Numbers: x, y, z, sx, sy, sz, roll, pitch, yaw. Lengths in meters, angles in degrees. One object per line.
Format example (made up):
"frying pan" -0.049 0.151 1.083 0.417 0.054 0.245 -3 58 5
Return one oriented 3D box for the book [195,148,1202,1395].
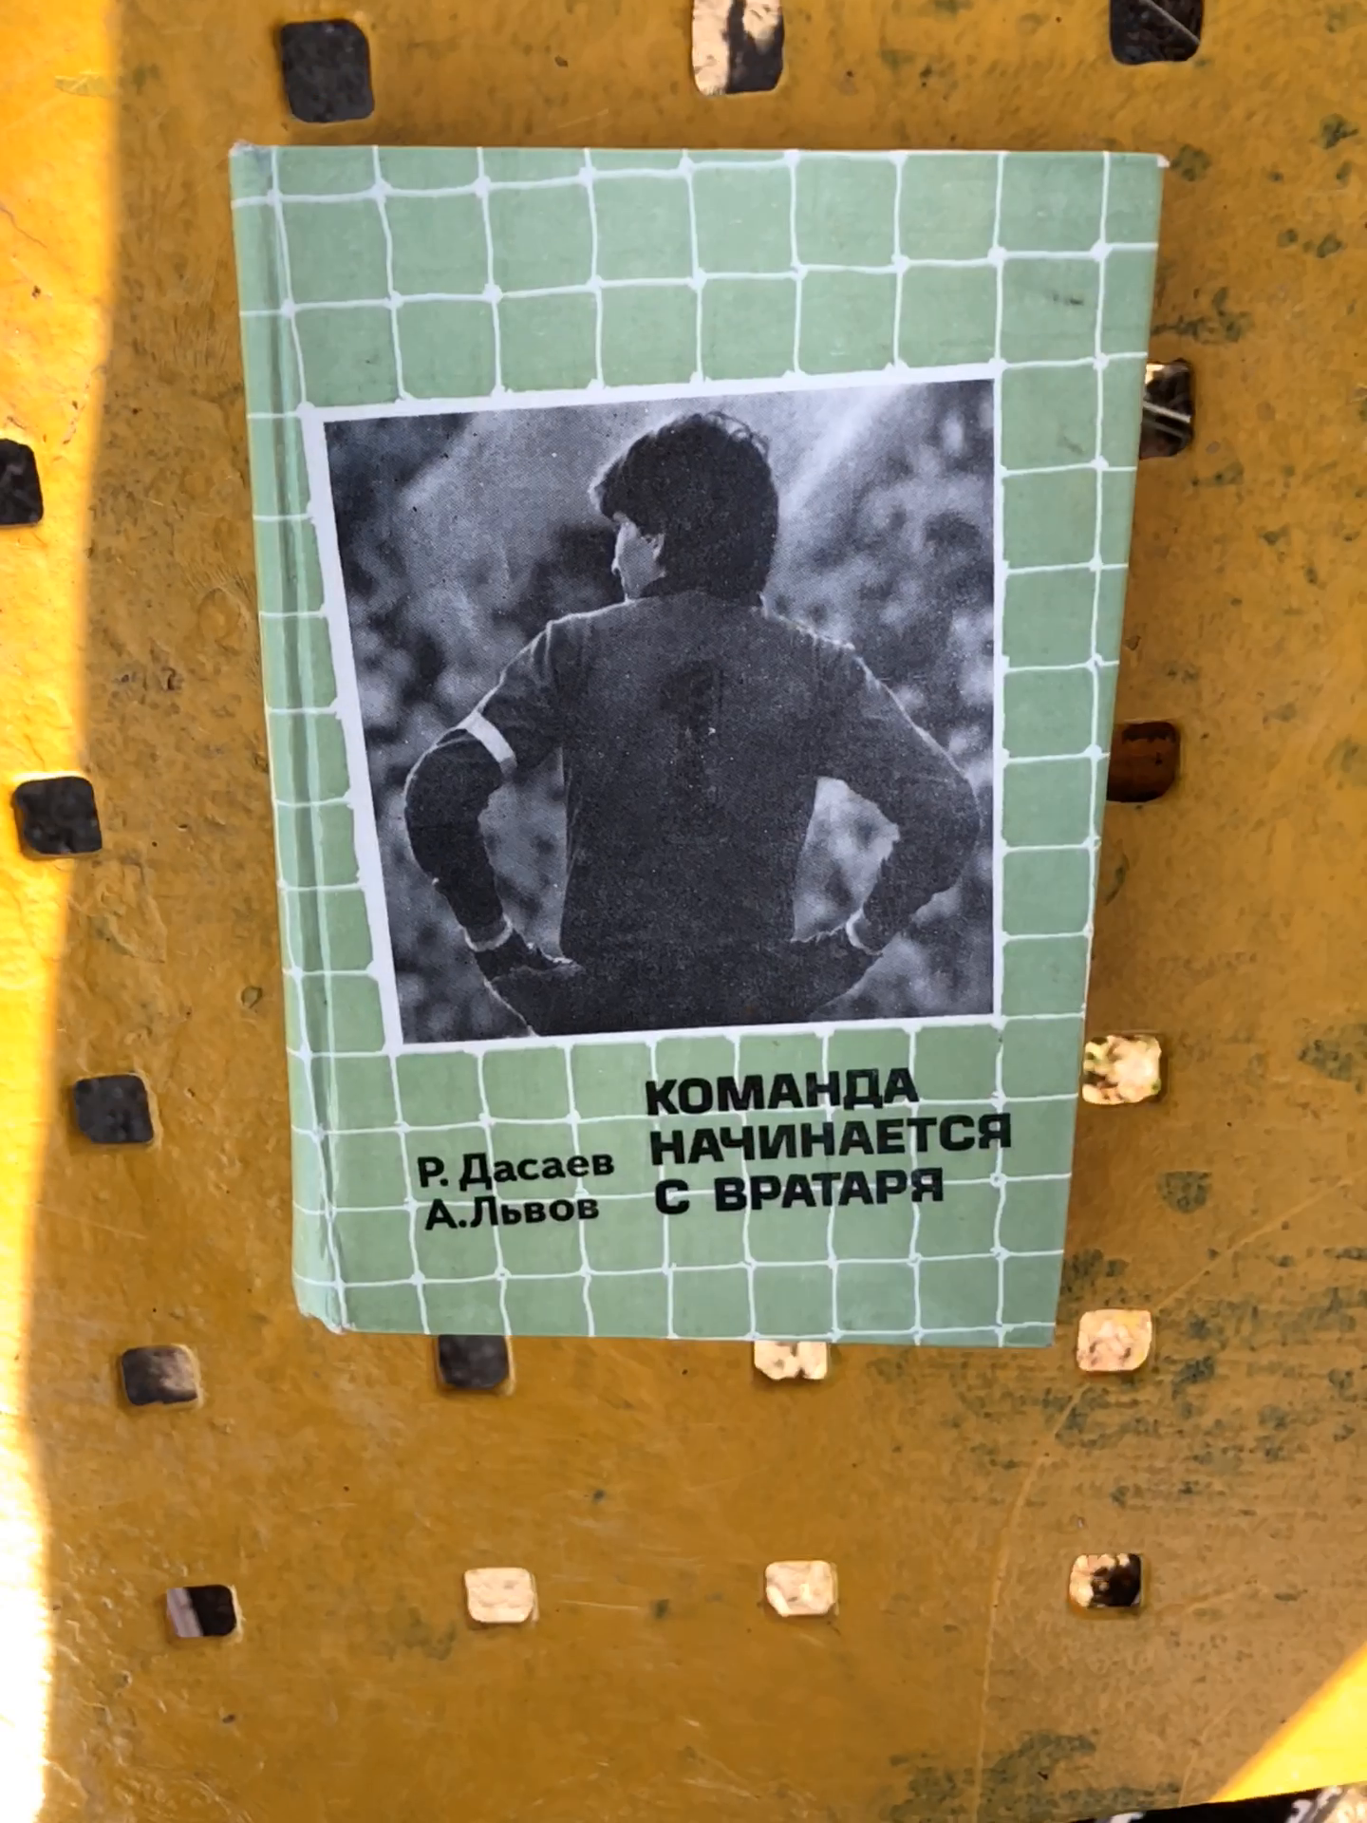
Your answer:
"book" 0.000 -0.013 0.215 0.117 0.030 0.165 1 107 1
